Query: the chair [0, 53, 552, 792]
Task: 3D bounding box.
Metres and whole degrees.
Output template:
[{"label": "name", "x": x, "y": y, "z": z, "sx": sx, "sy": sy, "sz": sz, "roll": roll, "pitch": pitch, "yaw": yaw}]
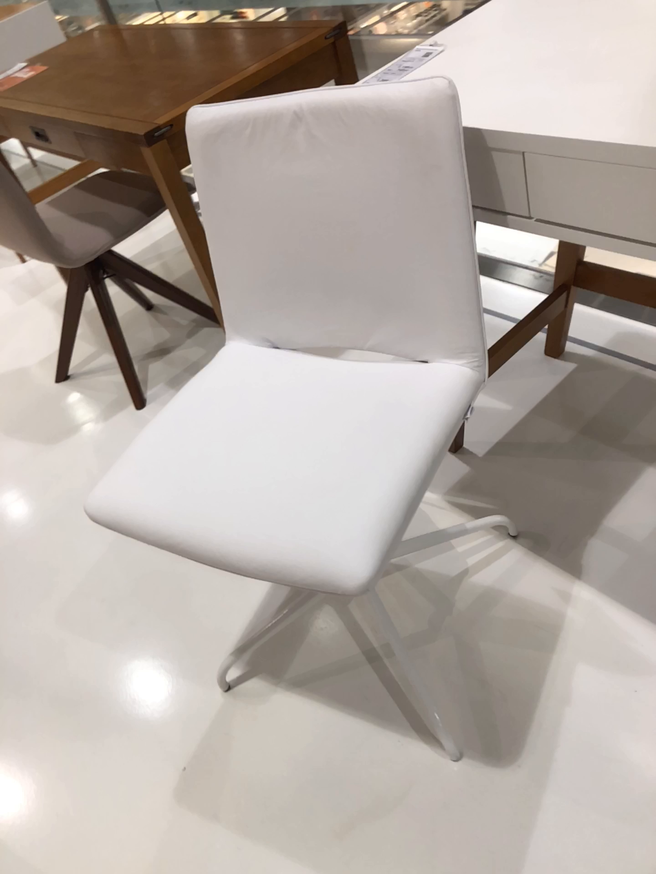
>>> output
[{"label": "chair", "x": -0.028, "y": 0.012, "z": 1.062, "sx": 0.511, "sy": 0.844, "sz": 0.502, "roll": 9, "pitch": 48, "yaw": 31}]
